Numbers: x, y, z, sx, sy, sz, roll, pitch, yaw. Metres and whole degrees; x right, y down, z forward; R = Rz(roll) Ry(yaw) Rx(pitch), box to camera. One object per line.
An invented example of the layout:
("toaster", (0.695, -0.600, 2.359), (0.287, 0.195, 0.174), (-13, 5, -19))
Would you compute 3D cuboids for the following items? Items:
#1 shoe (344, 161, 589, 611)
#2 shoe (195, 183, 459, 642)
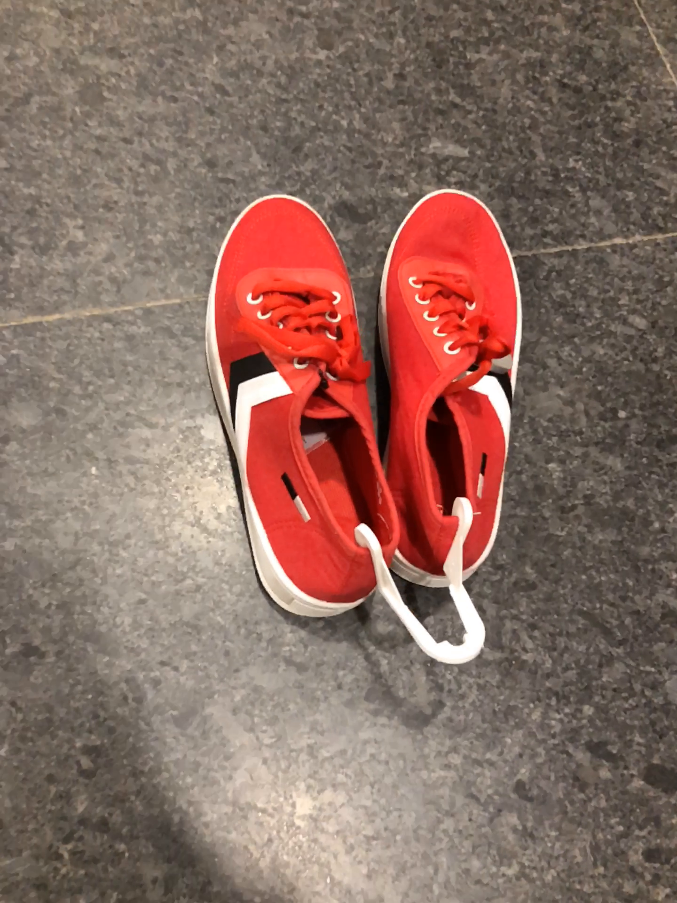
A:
("shoe", (0.071, -0.036, 0.436), (0.103, 0.090, 0.234), (8, 68, -9))
("shoe", (-0.018, -0.024, 0.416), (0.101, 0.090, 0.233), (-4, 71, -13))
